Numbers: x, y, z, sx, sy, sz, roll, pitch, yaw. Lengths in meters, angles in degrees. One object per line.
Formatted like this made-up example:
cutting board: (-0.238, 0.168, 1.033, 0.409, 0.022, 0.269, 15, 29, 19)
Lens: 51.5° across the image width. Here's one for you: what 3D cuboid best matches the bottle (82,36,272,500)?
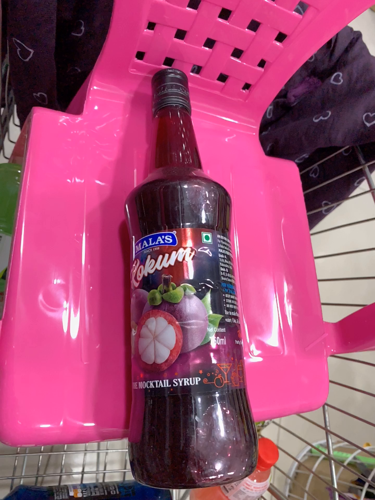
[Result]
bottle: (-0.008, 0.006, 0.264, 0.080, 0.080, 0.260, 18, 66, -51)
